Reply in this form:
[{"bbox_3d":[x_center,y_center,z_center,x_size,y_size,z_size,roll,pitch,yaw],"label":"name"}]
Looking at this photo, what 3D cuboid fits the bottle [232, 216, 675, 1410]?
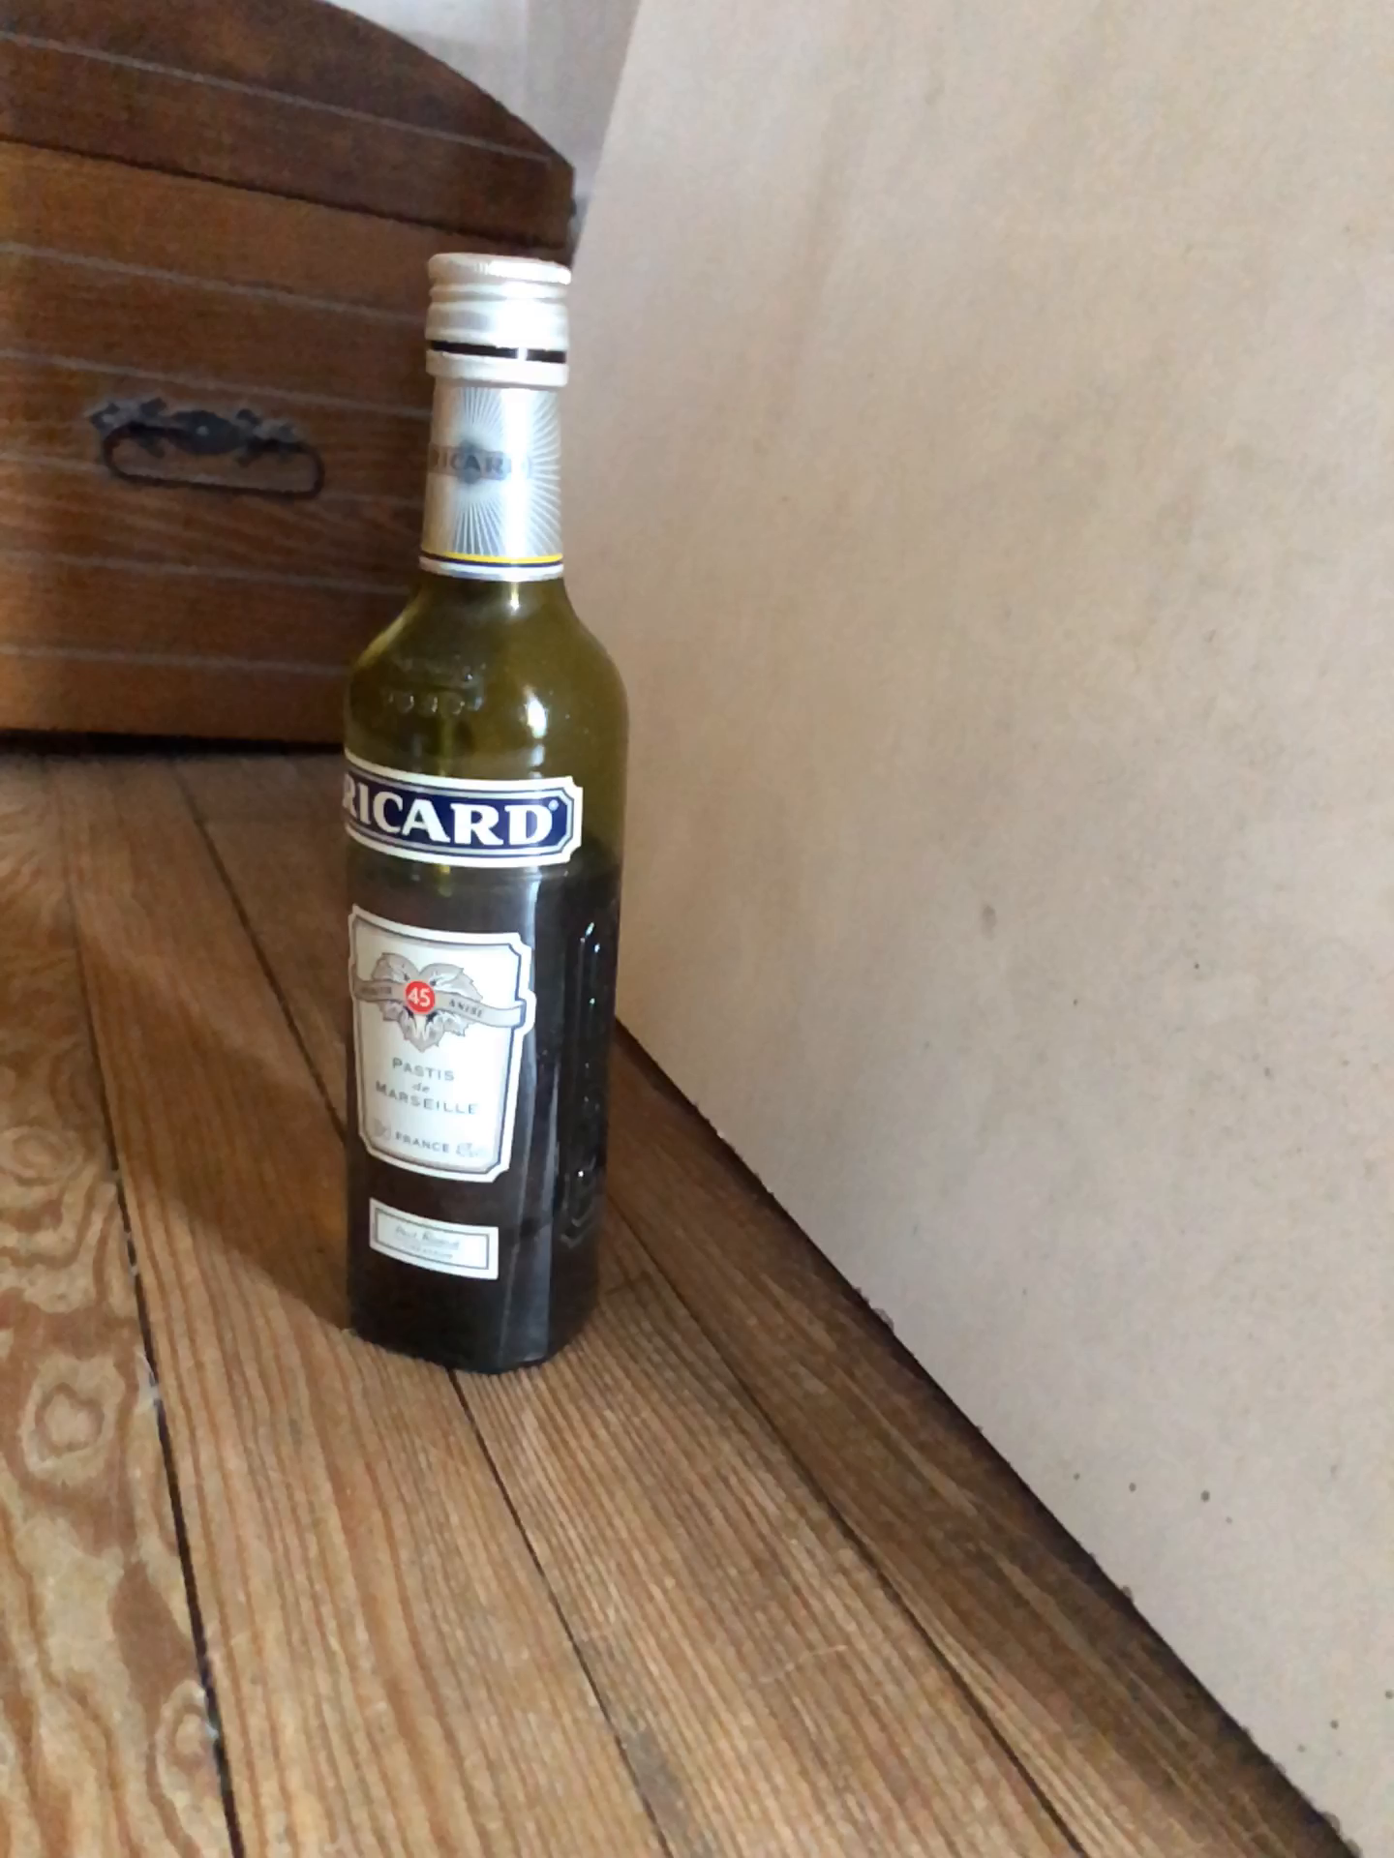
[{"bbox_3d":[-0.056,-0.021,0.362,0.070,0.259,0.060,10,21,16],"label":"bottle"}]
